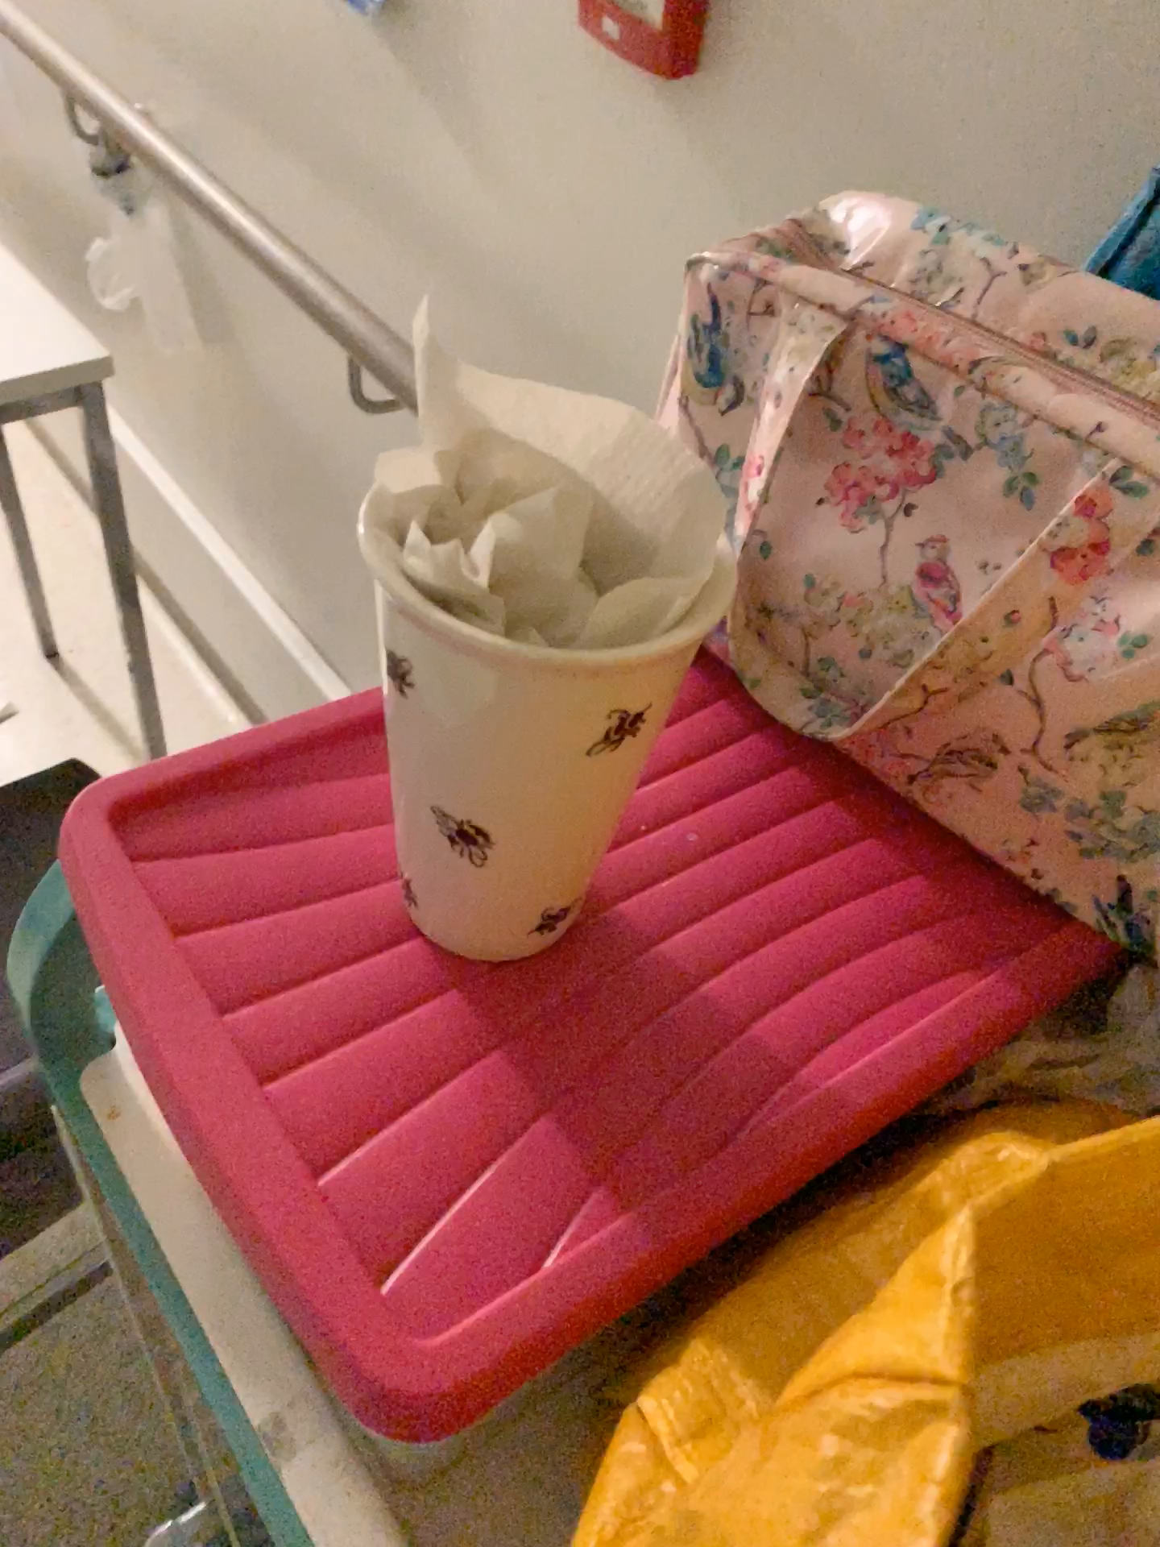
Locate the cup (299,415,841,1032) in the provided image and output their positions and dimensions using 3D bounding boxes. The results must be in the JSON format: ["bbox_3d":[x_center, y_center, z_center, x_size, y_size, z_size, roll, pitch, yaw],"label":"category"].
[{"bbox_3d":[-0.010,-0.016,0.327,0.098,0.112,0.090,7,44,-7],"label":"cup"}]
